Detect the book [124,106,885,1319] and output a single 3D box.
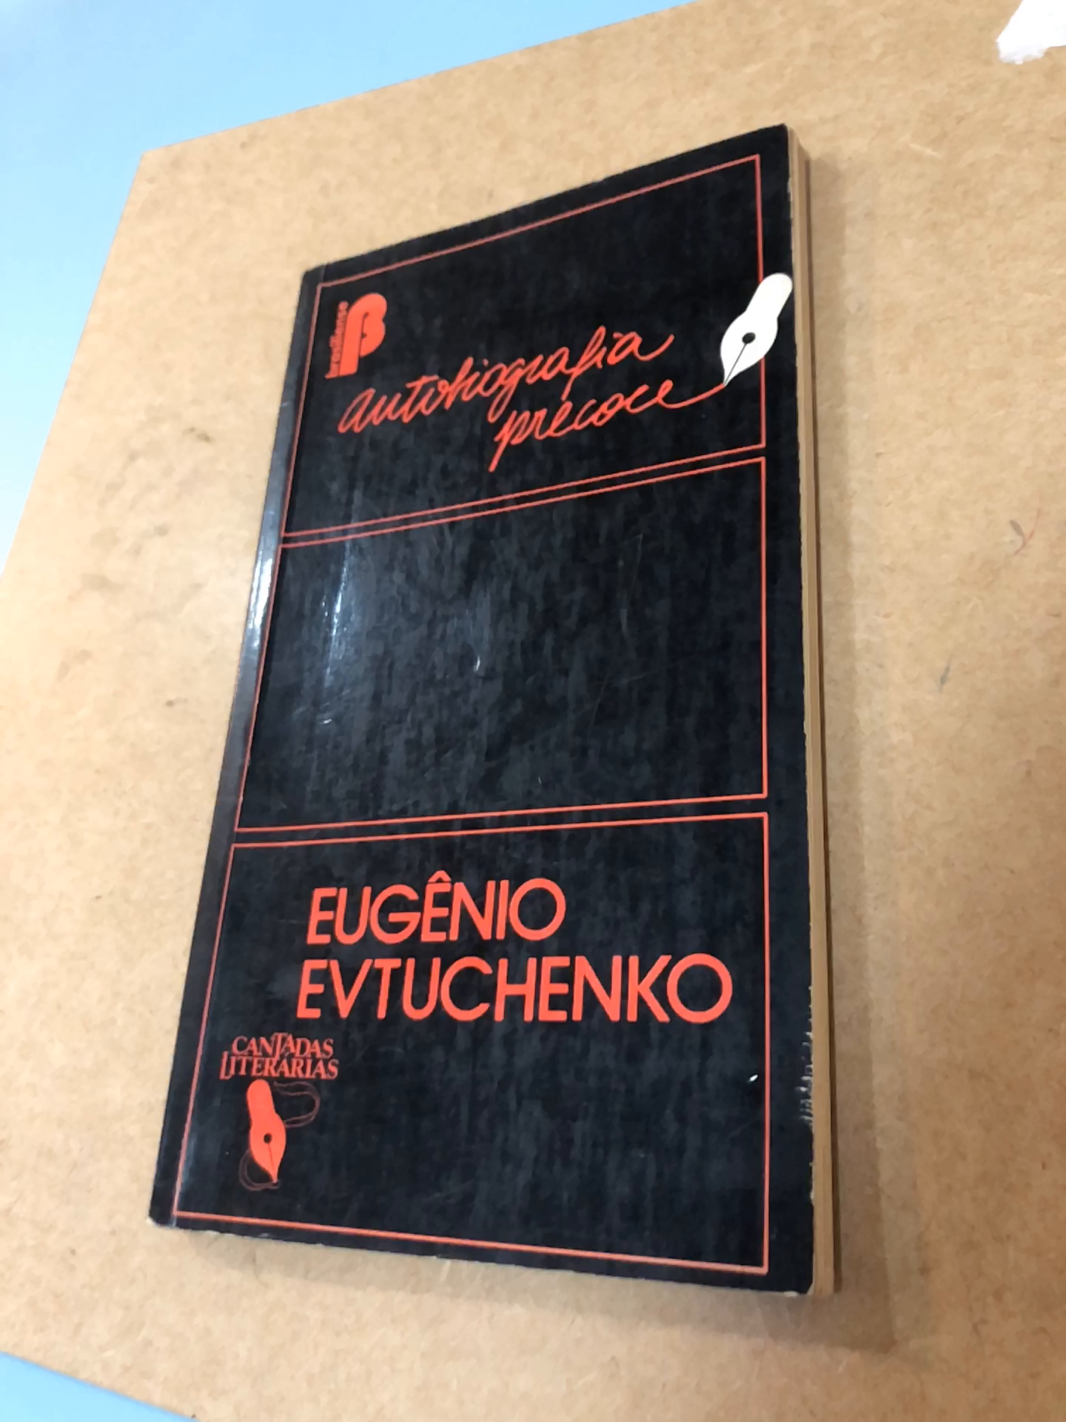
[{"bbox_3d":[-0.003,-0.009,0.205,0.114,0.016,0.190,-6,66,25],"label":"book"}]
